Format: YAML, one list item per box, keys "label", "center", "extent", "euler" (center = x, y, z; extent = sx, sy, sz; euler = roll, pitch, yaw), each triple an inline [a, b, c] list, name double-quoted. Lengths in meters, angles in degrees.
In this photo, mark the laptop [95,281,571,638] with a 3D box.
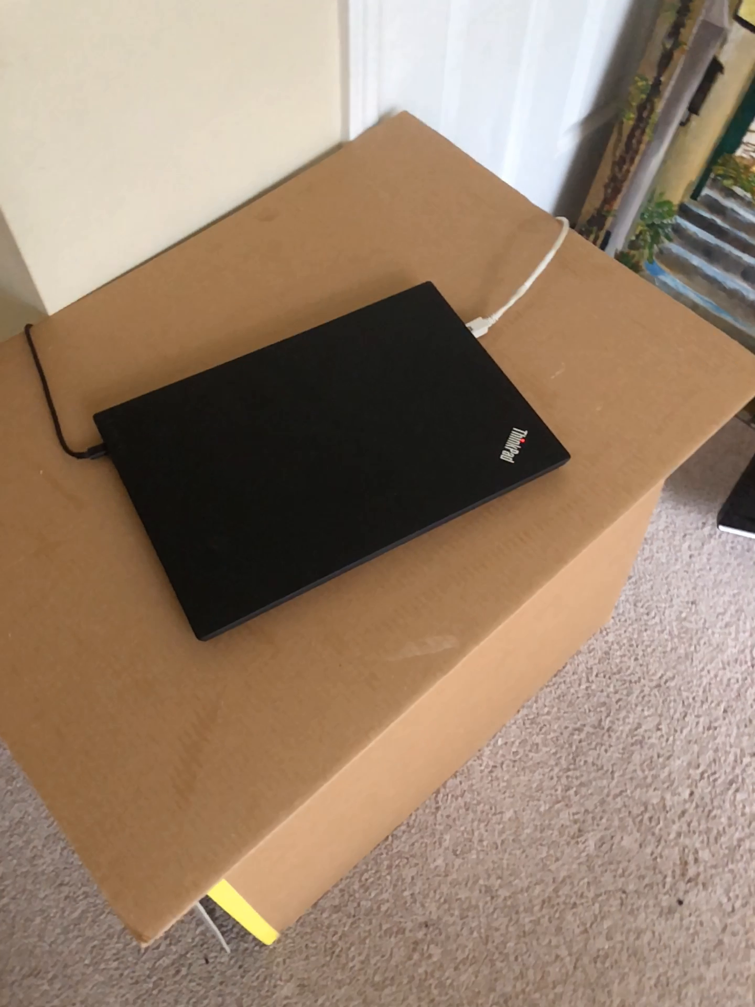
- label: "laptop"
  center: [-0.038, -0.057, 0.683]
  extent: [0.327, 0.002, 0.225]
  euler: [-25, 62, -16]
